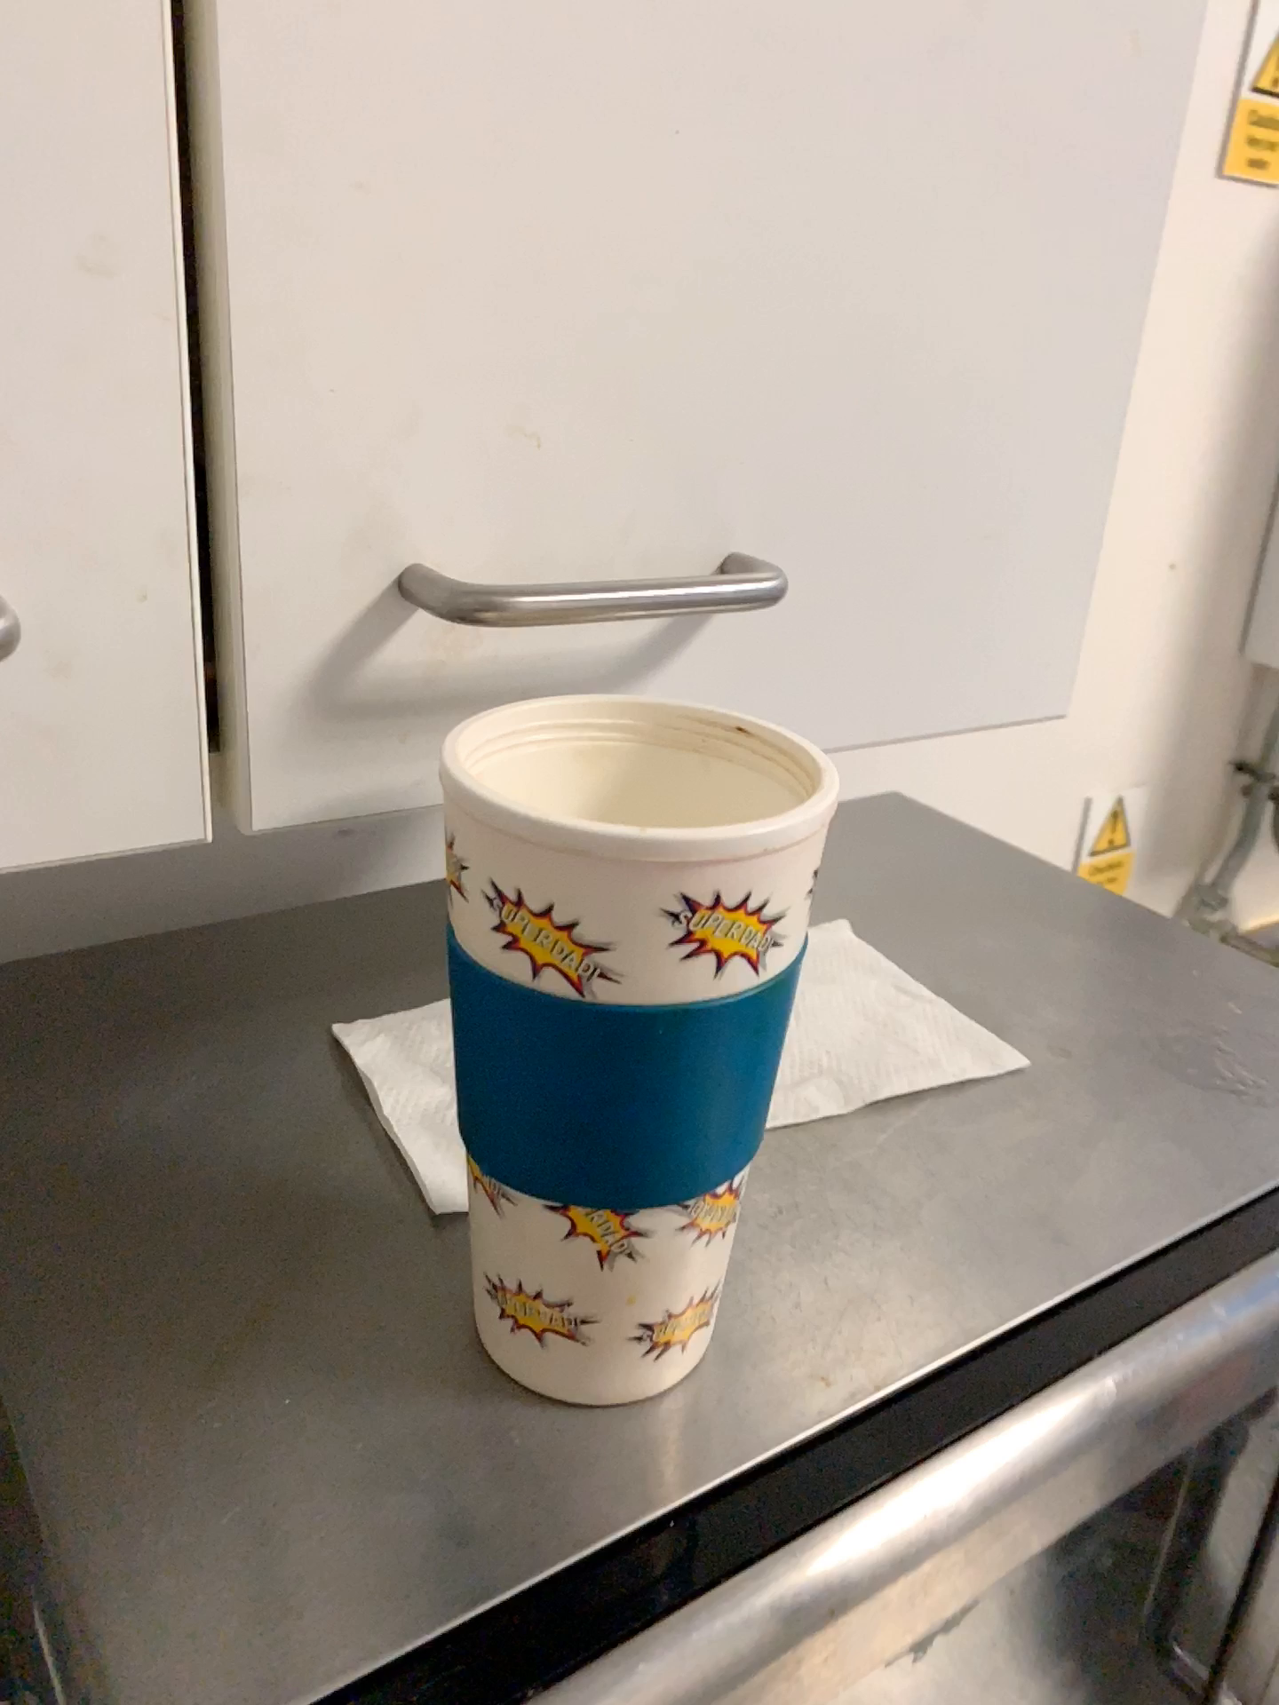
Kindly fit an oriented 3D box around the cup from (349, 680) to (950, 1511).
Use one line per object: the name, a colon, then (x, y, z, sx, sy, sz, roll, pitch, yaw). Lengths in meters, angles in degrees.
cup: (-0.005, 0.047, 0.314, 0.093, 0.146, 0.097, 4, 22, -1)
